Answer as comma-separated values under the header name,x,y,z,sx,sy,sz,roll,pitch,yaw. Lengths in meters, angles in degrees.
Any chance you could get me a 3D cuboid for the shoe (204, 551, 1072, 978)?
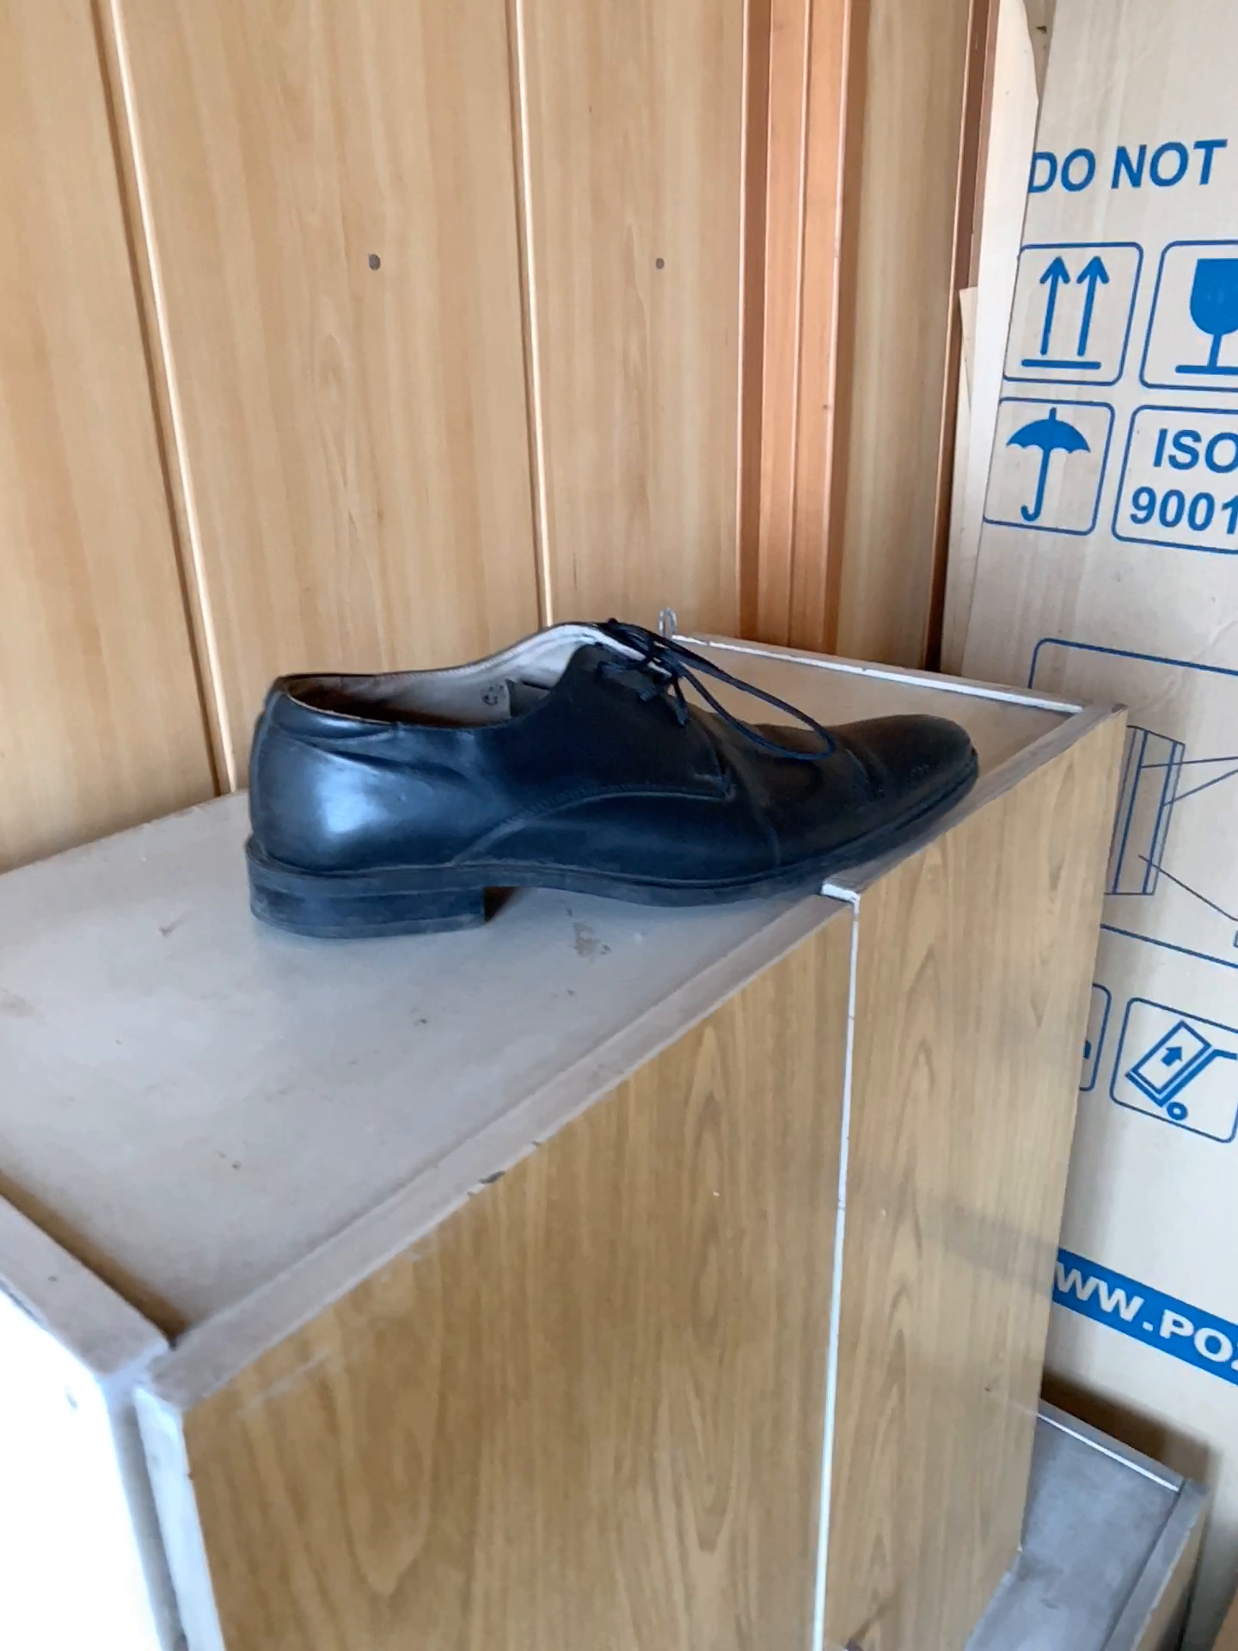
name,x,y,z,sx,sy,sz,roll,pitch,yaw
shoe,0.000,-0.038,0.497,0.300,0.089,0.141,-8,24,-15
